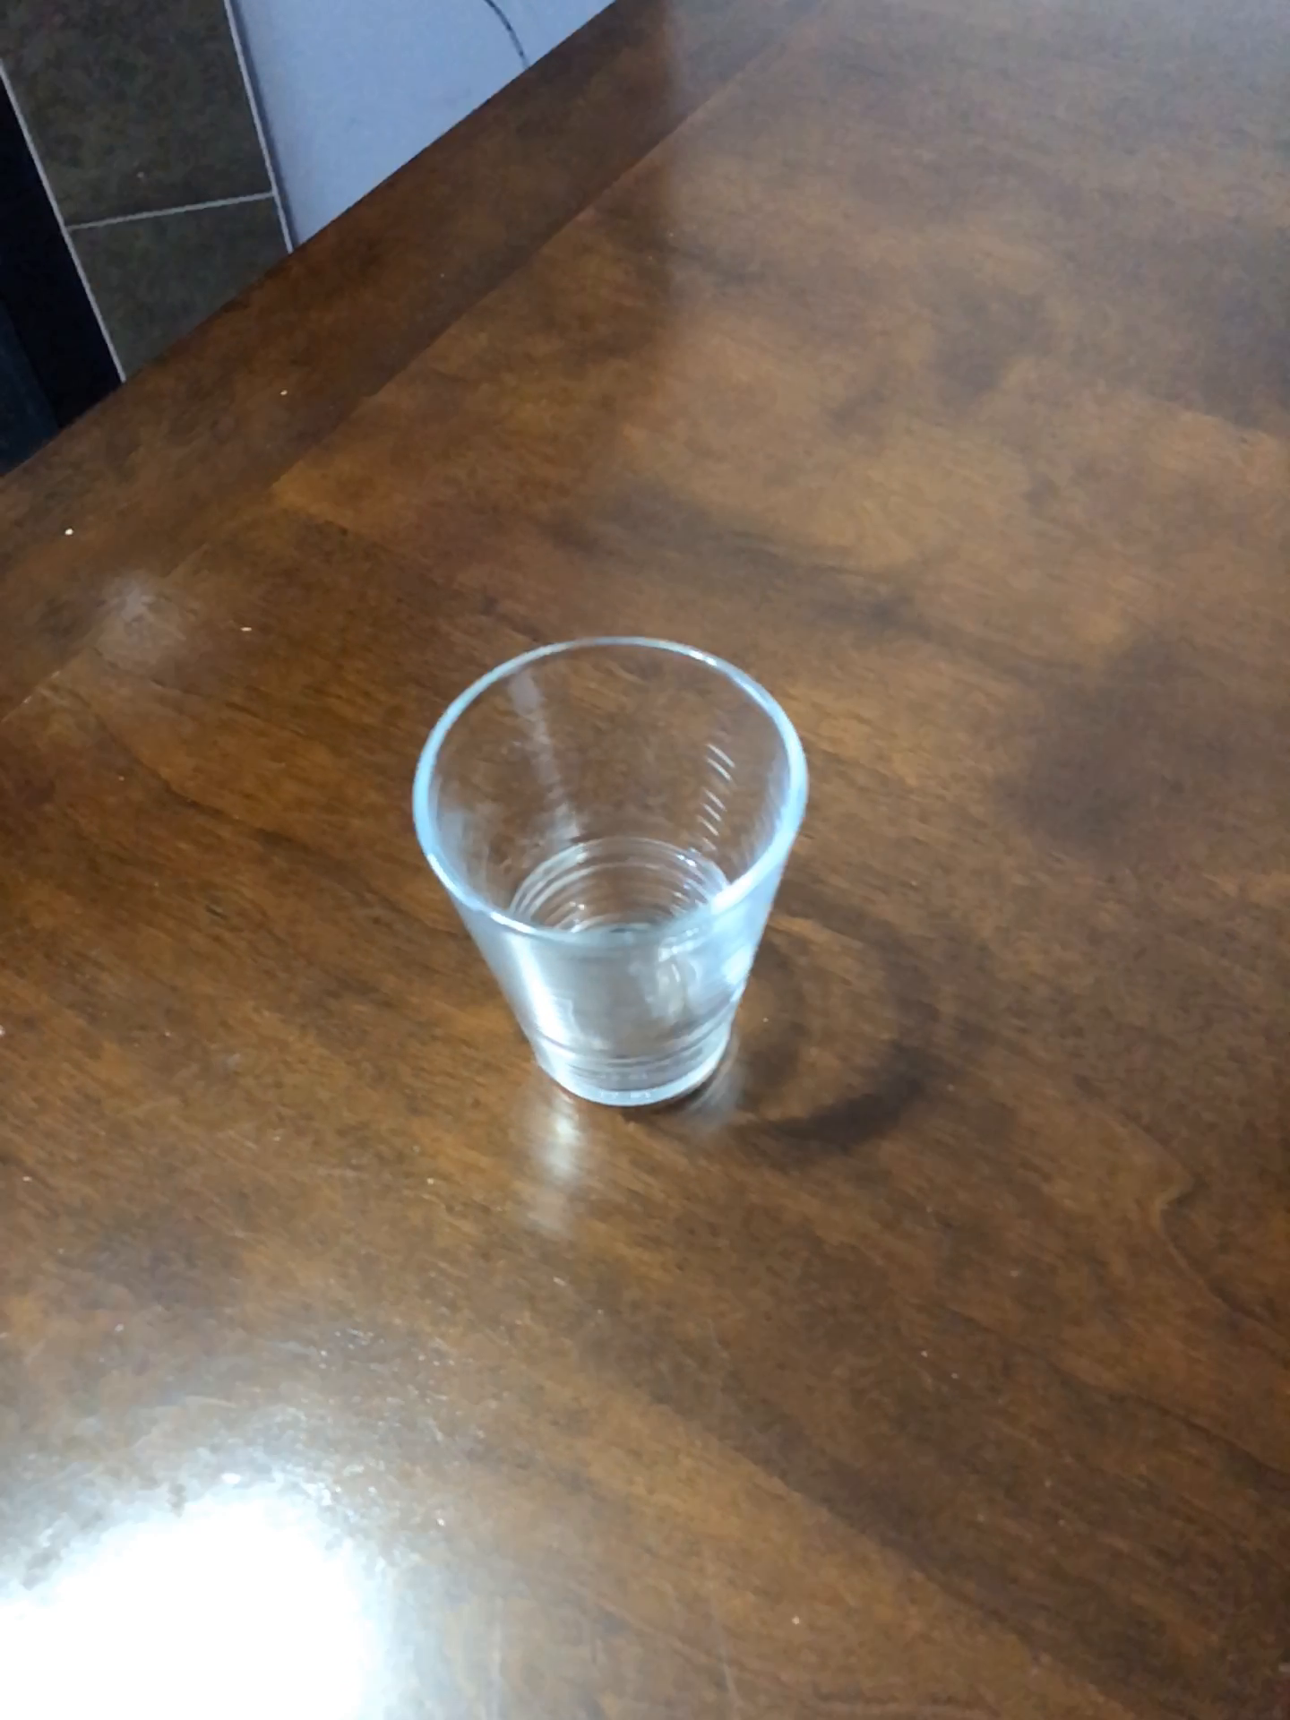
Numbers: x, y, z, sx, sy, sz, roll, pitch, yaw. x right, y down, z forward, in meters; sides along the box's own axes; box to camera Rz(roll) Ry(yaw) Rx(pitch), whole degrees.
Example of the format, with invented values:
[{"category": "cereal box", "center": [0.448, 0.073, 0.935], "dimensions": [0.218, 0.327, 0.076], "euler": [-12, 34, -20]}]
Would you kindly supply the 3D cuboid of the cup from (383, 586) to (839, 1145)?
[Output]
[{"category": "cup", "center": [-0.008, 0.004, 0.325], "dimensions": [0.080, 0.100, 0.070], "euler": [-10, 55, -5]}]
